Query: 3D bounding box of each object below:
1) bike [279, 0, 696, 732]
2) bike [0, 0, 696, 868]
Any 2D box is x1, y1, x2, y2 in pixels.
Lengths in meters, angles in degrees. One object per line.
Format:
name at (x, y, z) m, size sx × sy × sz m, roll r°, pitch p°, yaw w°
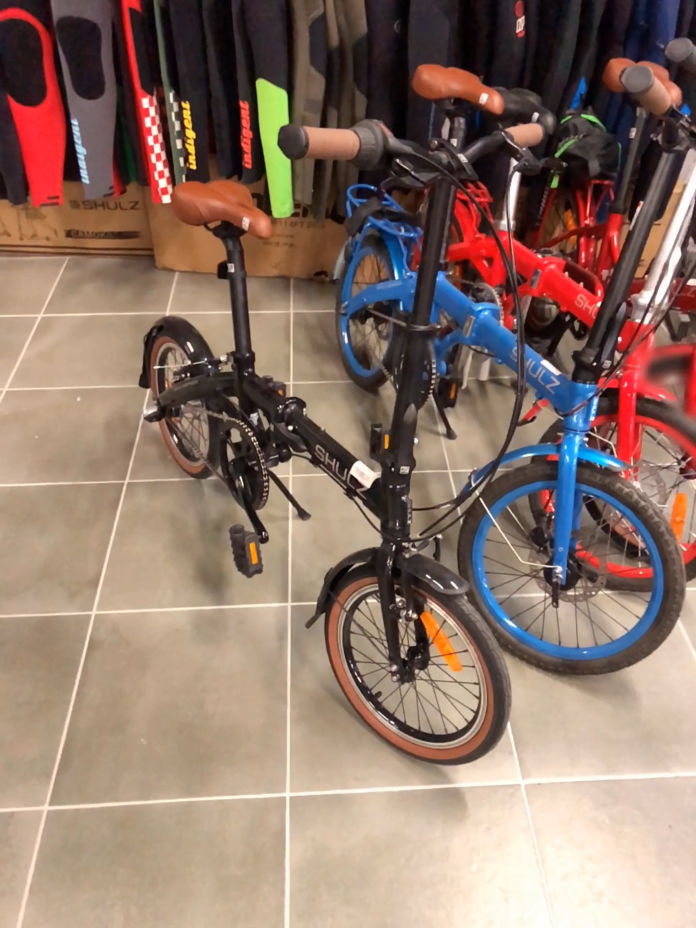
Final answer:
bike at (0.398, -0.382, 1.689) m, size 0.568 × 1.029 × 1.379 m, roll -17°, pitch 45°, yaw -20°
bike at (-0.091, -0.202, 1.415) m, size 0.566 × 1.057 × 1.277 m, roll -26°, pitch 46°, yaw -28°
